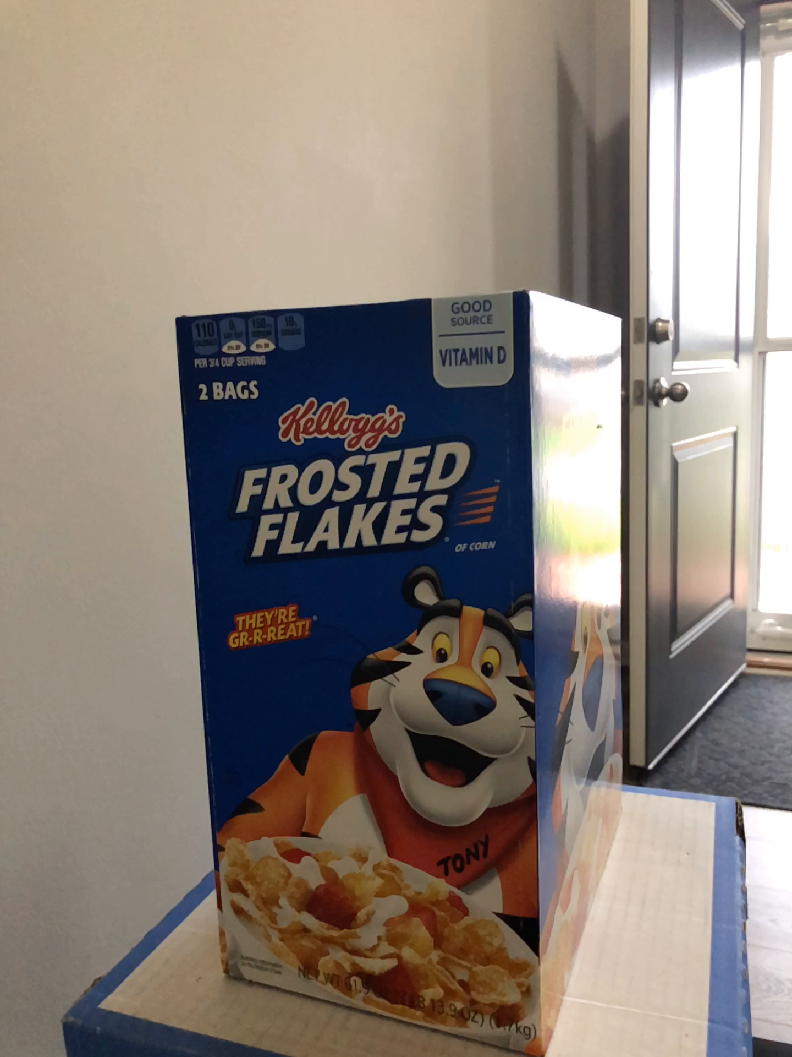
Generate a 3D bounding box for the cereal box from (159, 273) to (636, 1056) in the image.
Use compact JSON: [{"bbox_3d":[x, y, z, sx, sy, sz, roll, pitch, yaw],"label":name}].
[{"bbox_3d":[0.031,0.040,0.496,0.170,0.319,0.260,1,10,23],"label":"cereal box"}]
